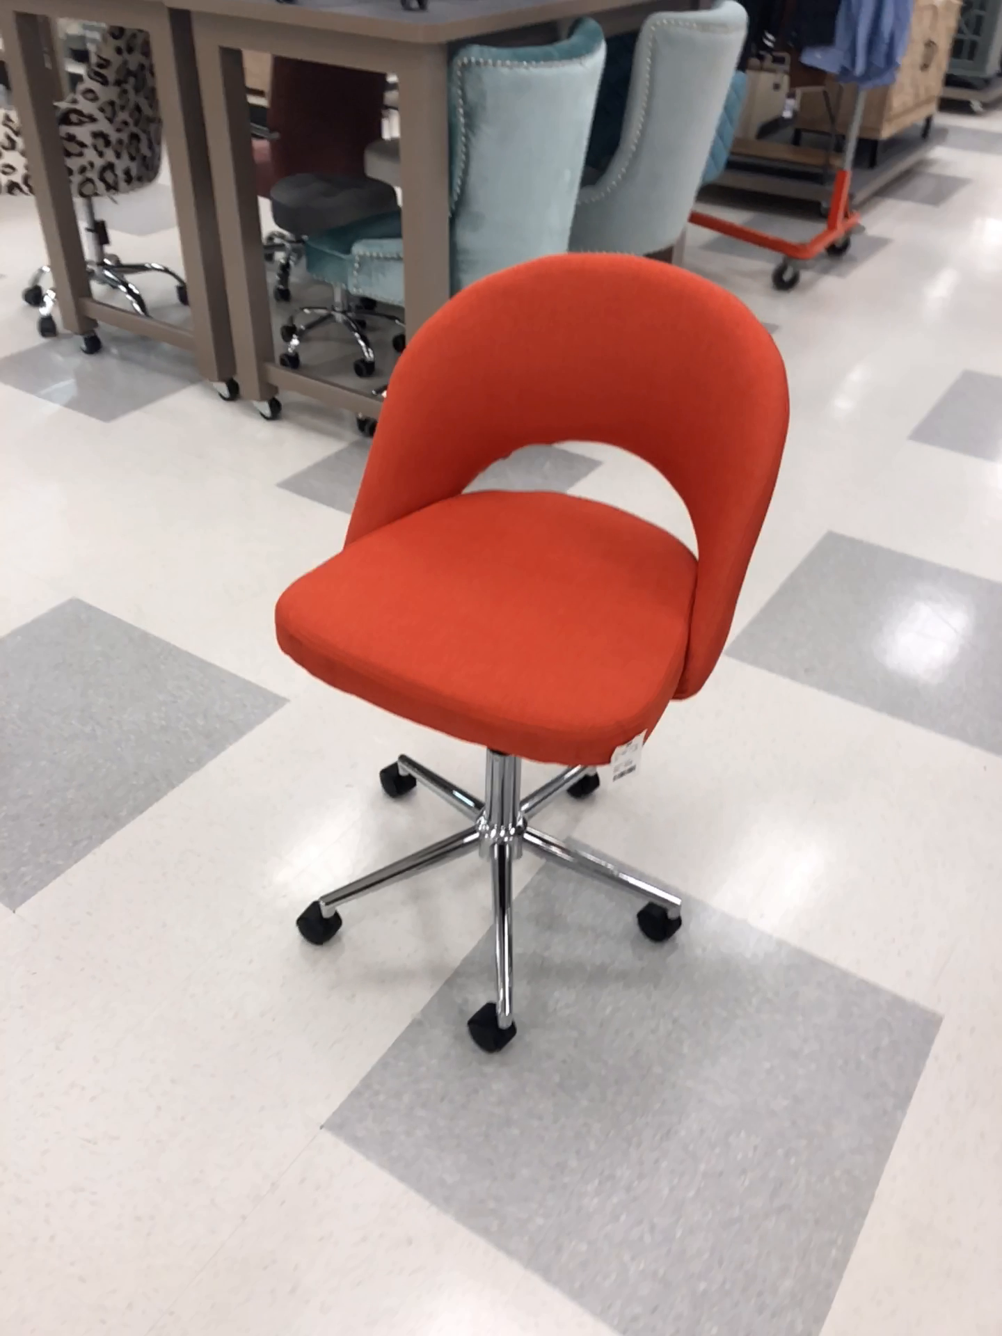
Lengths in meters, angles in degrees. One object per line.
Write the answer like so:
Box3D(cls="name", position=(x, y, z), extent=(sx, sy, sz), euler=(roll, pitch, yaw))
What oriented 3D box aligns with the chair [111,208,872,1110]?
Box3D(cls="chair", position=(0.012, -0.045, 1.450), extent=(0.600, 0.858, 0.610), euler=(21, 40, 24))
